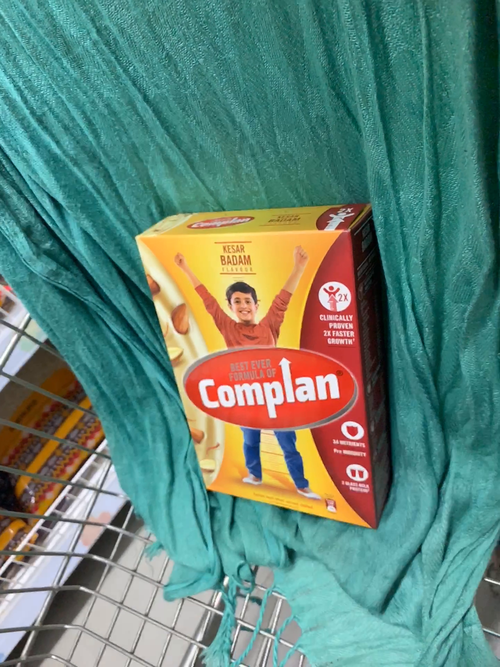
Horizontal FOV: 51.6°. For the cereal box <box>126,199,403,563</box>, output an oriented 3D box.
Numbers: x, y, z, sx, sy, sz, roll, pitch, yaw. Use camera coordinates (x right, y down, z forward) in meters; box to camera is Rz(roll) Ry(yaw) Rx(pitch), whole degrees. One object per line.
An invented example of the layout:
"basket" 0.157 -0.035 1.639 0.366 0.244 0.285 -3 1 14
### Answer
"cereal box" 0.015 0.026 0.329 0.141 0.200 0.060 4 23 30
